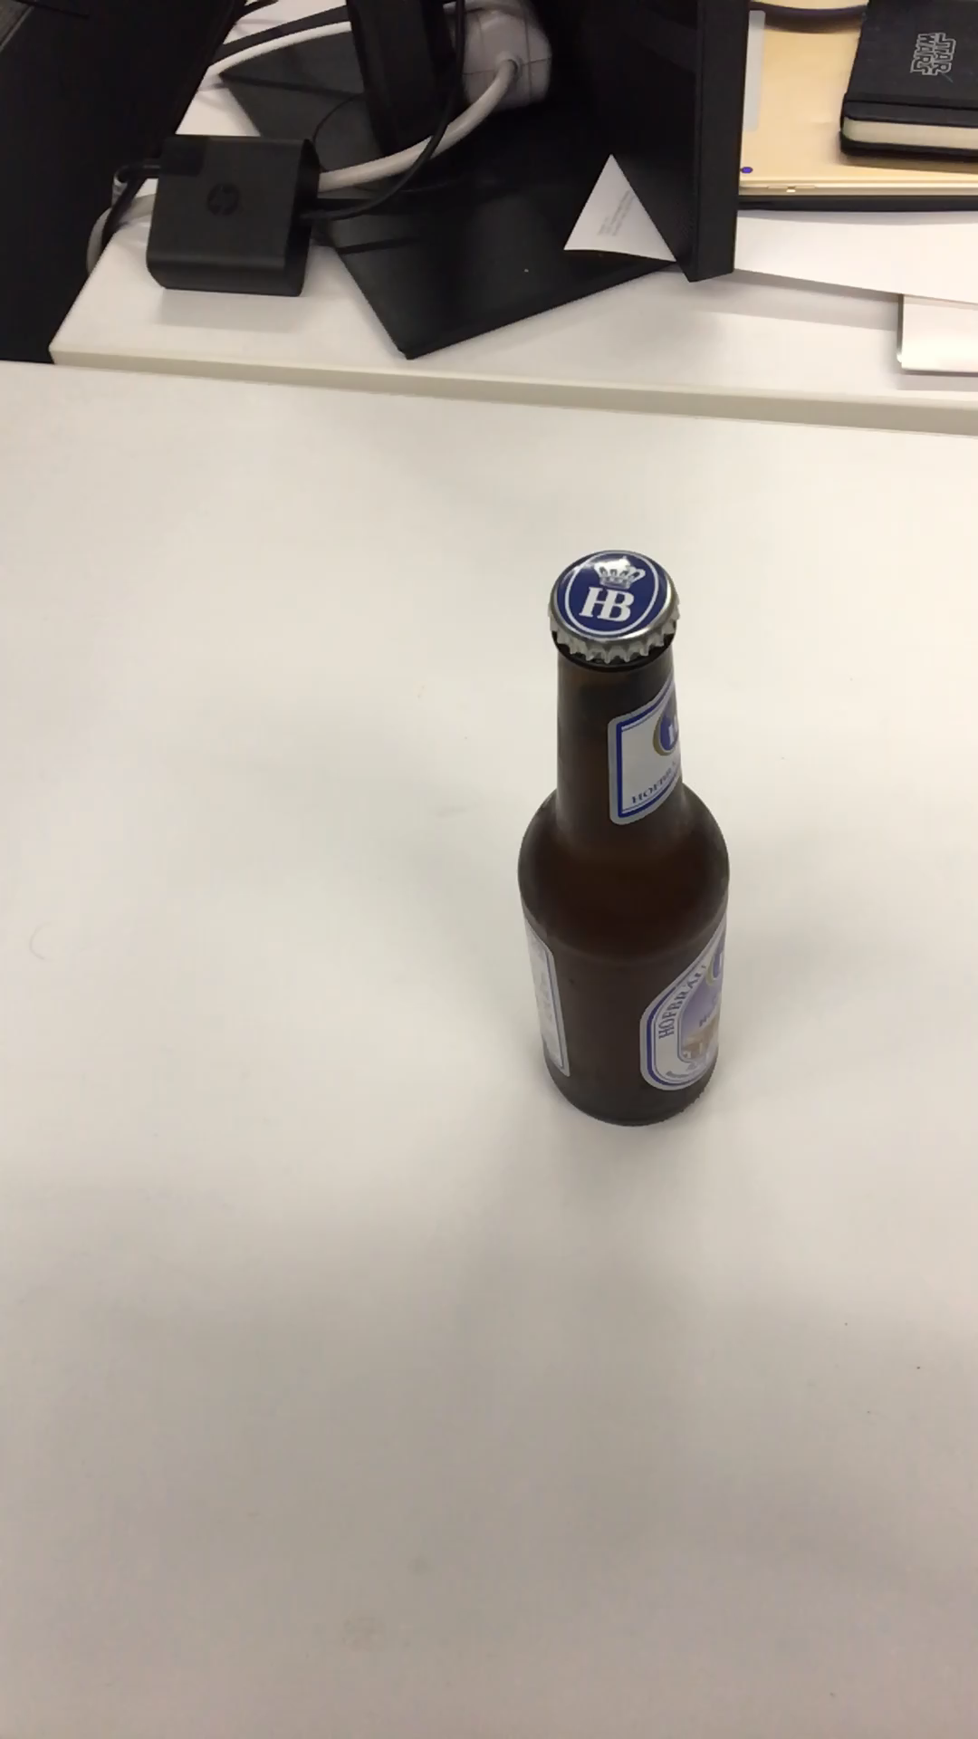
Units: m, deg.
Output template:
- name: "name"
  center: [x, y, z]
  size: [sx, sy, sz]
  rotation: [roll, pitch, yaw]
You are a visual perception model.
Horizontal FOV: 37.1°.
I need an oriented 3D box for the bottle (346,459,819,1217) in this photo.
- name: "bottle"
  center: [0.031, 0.008, 0.408]
  size: [0.080, 0.230, 0.080]
  rotation: [-3, 57, 4]
